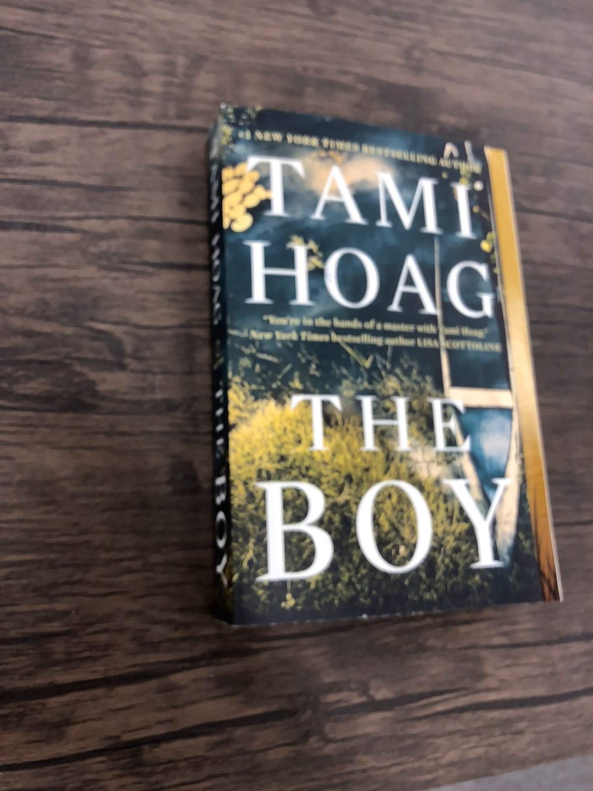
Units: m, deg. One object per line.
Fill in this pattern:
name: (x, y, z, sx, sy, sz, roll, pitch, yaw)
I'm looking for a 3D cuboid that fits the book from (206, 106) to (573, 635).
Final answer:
book: (0.034, -0.013, 0.284, 0.139, 0.032, 0.202, 2, 77, -16)
